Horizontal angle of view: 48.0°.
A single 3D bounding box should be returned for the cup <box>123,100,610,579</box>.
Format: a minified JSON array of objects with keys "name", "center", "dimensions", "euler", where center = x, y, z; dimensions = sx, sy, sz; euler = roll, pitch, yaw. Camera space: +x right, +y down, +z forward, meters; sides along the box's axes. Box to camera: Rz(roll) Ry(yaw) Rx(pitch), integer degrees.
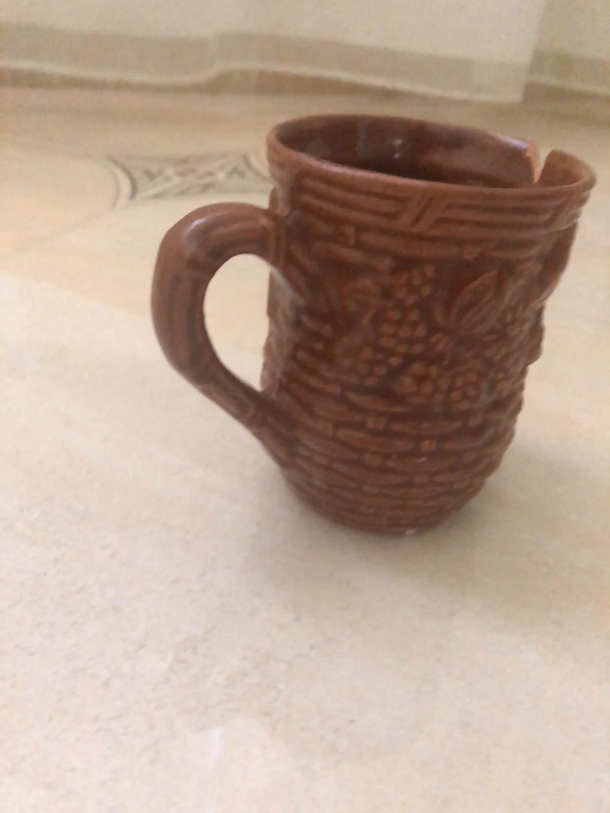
[{"name":"cup","center":[0.015,-0.022,0.167],"dimensions":[0.104,0.081,0.073],"euler":[-5,34,-17]}]
